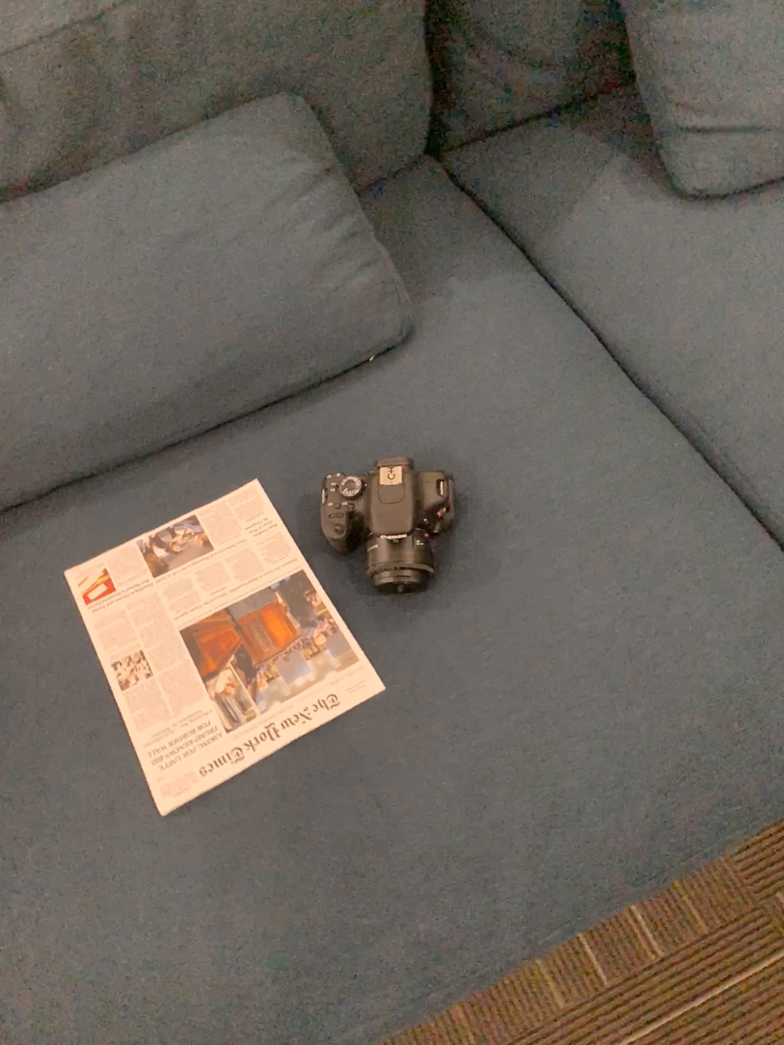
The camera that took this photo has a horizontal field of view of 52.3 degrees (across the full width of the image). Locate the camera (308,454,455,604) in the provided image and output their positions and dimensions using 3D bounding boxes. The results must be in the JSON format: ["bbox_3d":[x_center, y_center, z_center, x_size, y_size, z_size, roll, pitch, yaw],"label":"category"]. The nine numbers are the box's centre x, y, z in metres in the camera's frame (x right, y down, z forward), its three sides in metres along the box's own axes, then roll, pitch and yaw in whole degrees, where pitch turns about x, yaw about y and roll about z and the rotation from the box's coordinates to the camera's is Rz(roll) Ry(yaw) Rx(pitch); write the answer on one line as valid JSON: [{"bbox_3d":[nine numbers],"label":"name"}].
[{"bbox_3d":[-0.007,0.010,0.739,0.120,0.100,0.109,-3,72,7],"label":"camera"}]
